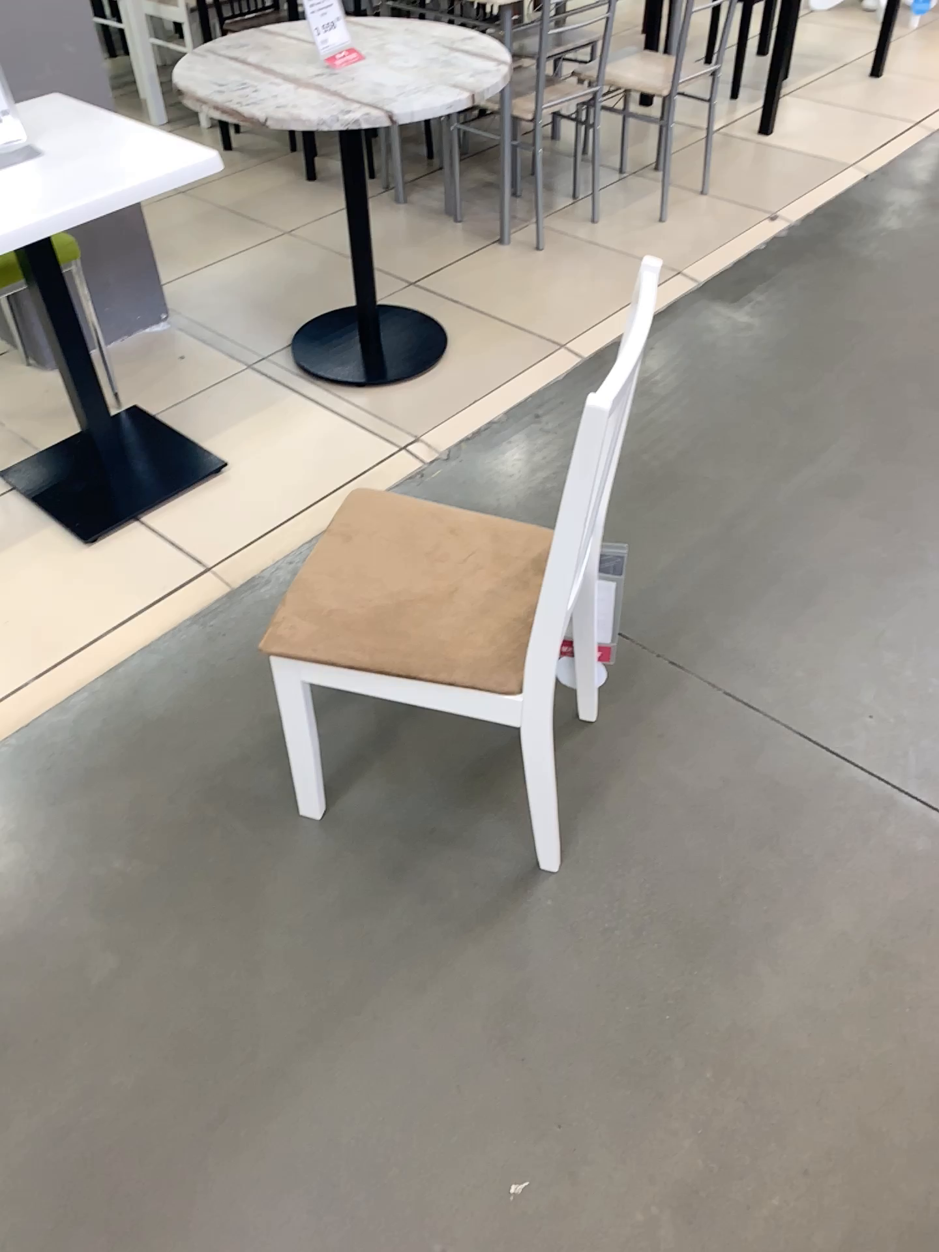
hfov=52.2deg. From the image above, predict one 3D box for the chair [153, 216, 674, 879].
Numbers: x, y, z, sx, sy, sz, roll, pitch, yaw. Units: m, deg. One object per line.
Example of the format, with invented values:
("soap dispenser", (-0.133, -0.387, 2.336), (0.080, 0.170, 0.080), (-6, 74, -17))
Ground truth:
("chair", (-0.031, -0.081, 1.382), (0.500, 0.816, 0.402), (10, 45, 12))
